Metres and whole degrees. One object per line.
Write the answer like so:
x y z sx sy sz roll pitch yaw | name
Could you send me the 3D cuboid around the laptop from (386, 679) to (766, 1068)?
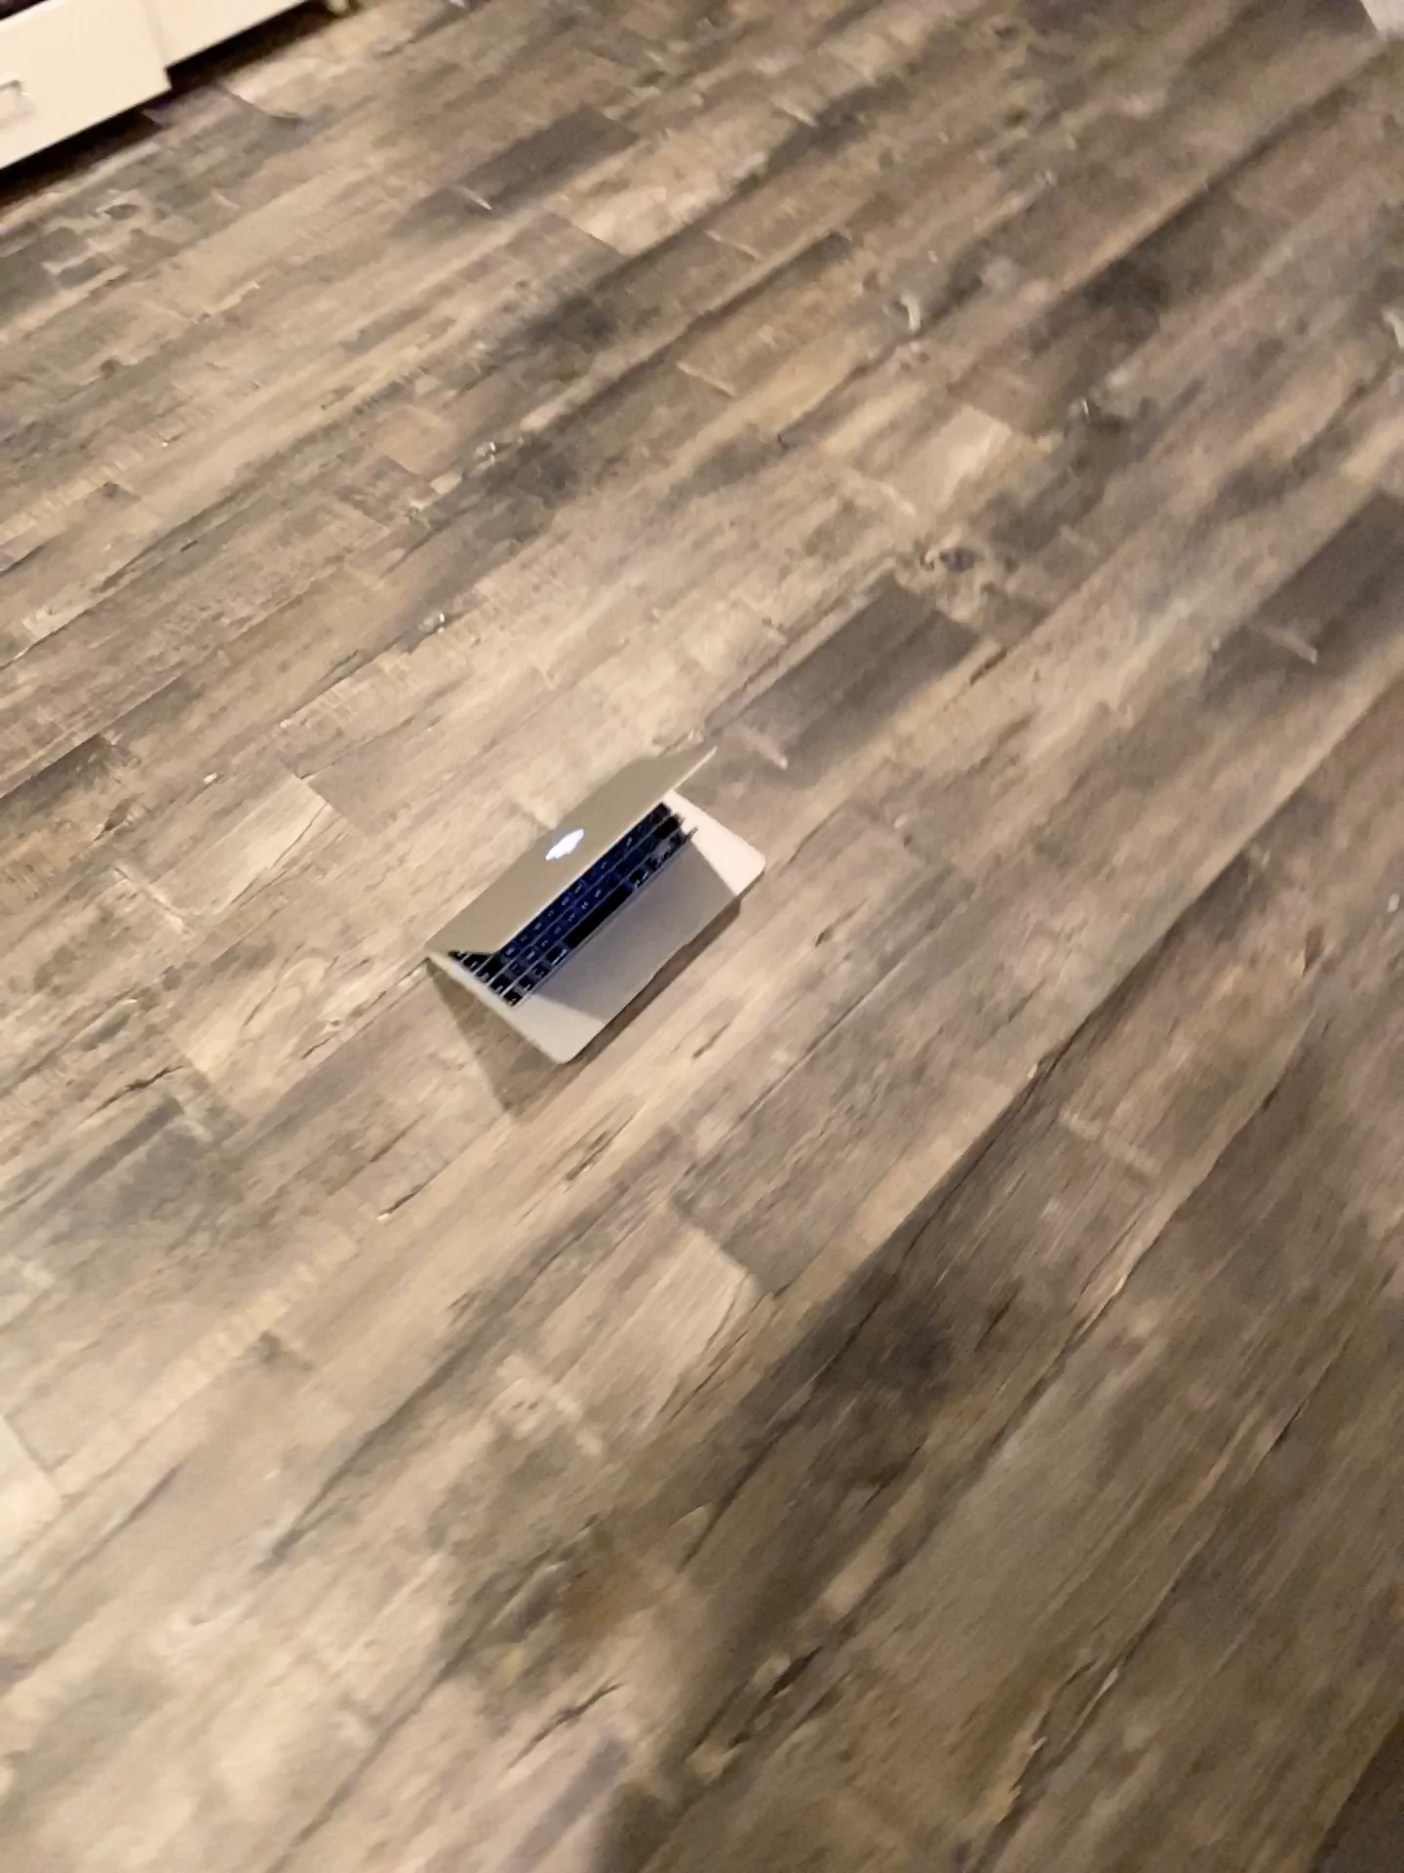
-0.108 -0.064 1.330 0.193 0.132 0.292 34 65 22 | laptop
